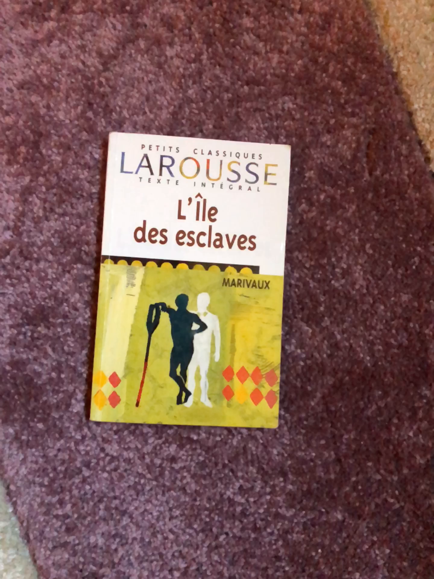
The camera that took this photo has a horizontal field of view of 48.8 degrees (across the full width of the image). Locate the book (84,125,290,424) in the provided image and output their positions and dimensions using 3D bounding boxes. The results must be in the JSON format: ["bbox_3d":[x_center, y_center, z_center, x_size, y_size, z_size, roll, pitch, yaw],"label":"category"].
[{"bbox_3d":[-0.016,-0.008,0.285,0.110,0.020,0.166,3,87,-4],"label":"book"}]
